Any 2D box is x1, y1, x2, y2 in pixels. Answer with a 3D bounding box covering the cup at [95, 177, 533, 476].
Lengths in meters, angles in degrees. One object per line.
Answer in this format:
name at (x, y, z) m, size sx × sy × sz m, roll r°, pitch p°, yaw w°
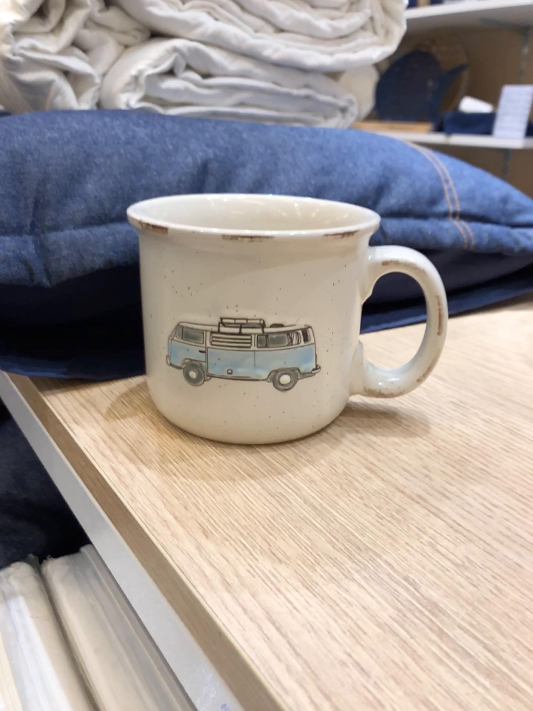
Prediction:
cup at (0.018, -0.022, 0.252) m, size 0.140 × 0.089 × 0.101 m, roll 4°, pitch 21°, yaw 6°
